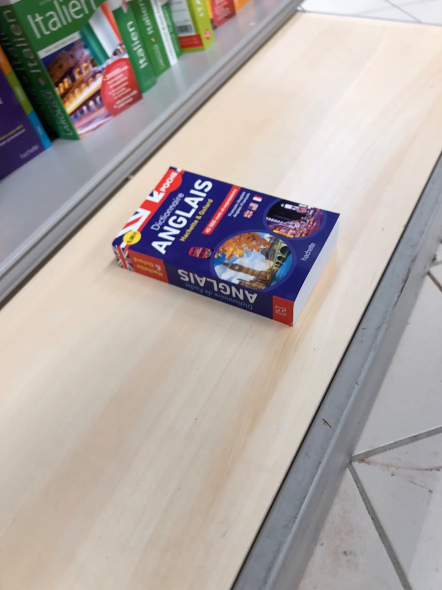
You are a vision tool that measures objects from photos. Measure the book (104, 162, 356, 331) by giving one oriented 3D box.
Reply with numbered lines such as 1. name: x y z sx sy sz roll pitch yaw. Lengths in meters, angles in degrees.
1. book: 0.010 -0.053 0.442 0.187 0.040 0.119 18 53 20
